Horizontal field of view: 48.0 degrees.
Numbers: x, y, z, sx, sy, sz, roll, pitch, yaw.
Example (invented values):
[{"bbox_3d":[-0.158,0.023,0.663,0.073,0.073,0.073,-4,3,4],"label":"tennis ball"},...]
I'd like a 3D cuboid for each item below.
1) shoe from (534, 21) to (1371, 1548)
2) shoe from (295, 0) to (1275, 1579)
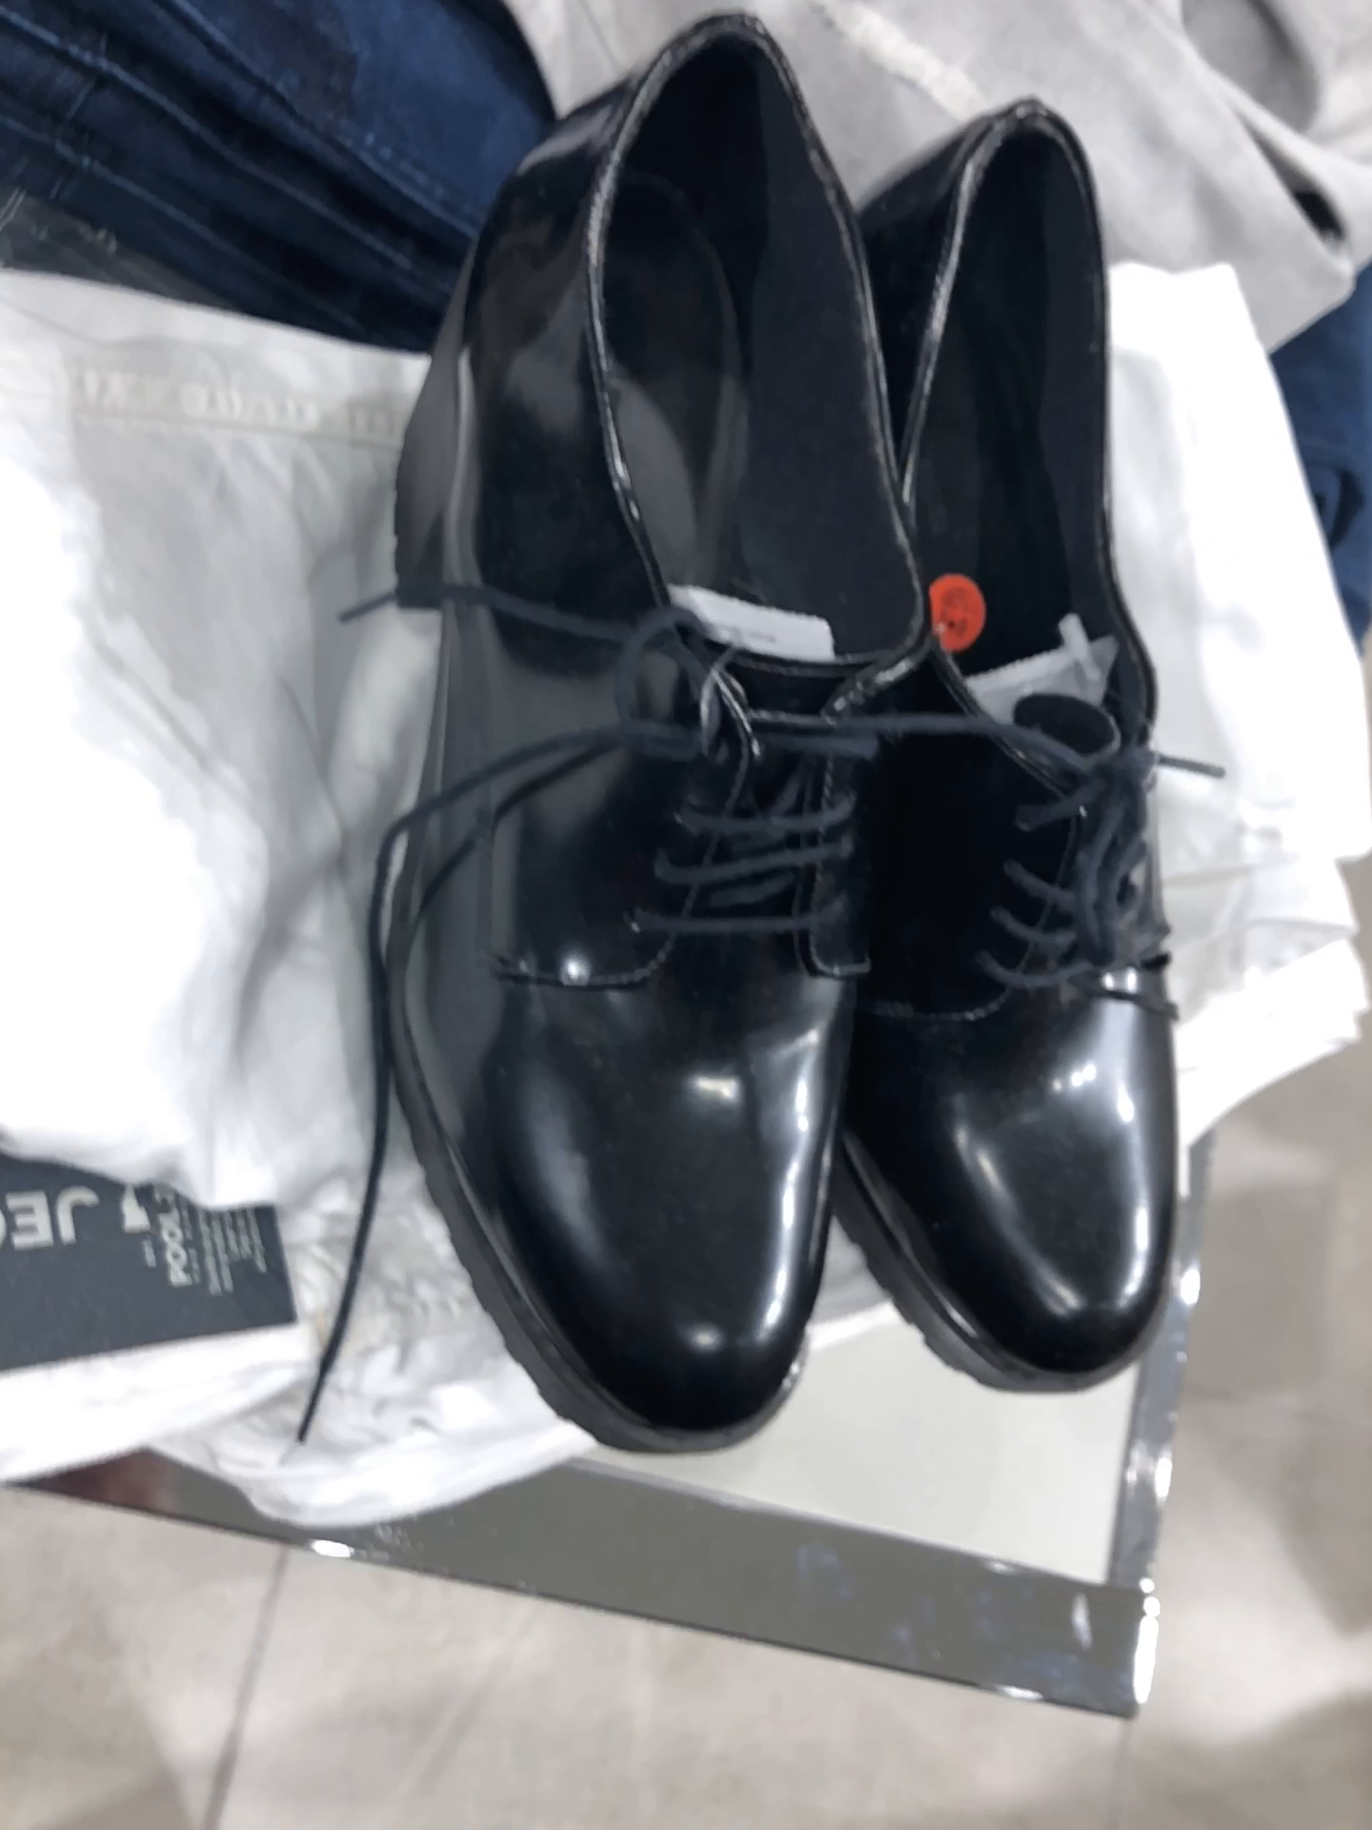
[{"bbox_3d":[0.065,-0.023,0.330,0.100,0.149,0.260,-13,79,-20],"label":"shoe"},{"bbox_3d":[-0.008,-0.026,0.309,0.100,0.159,0.260,-5,76,-19],"label":"shoe"}]
